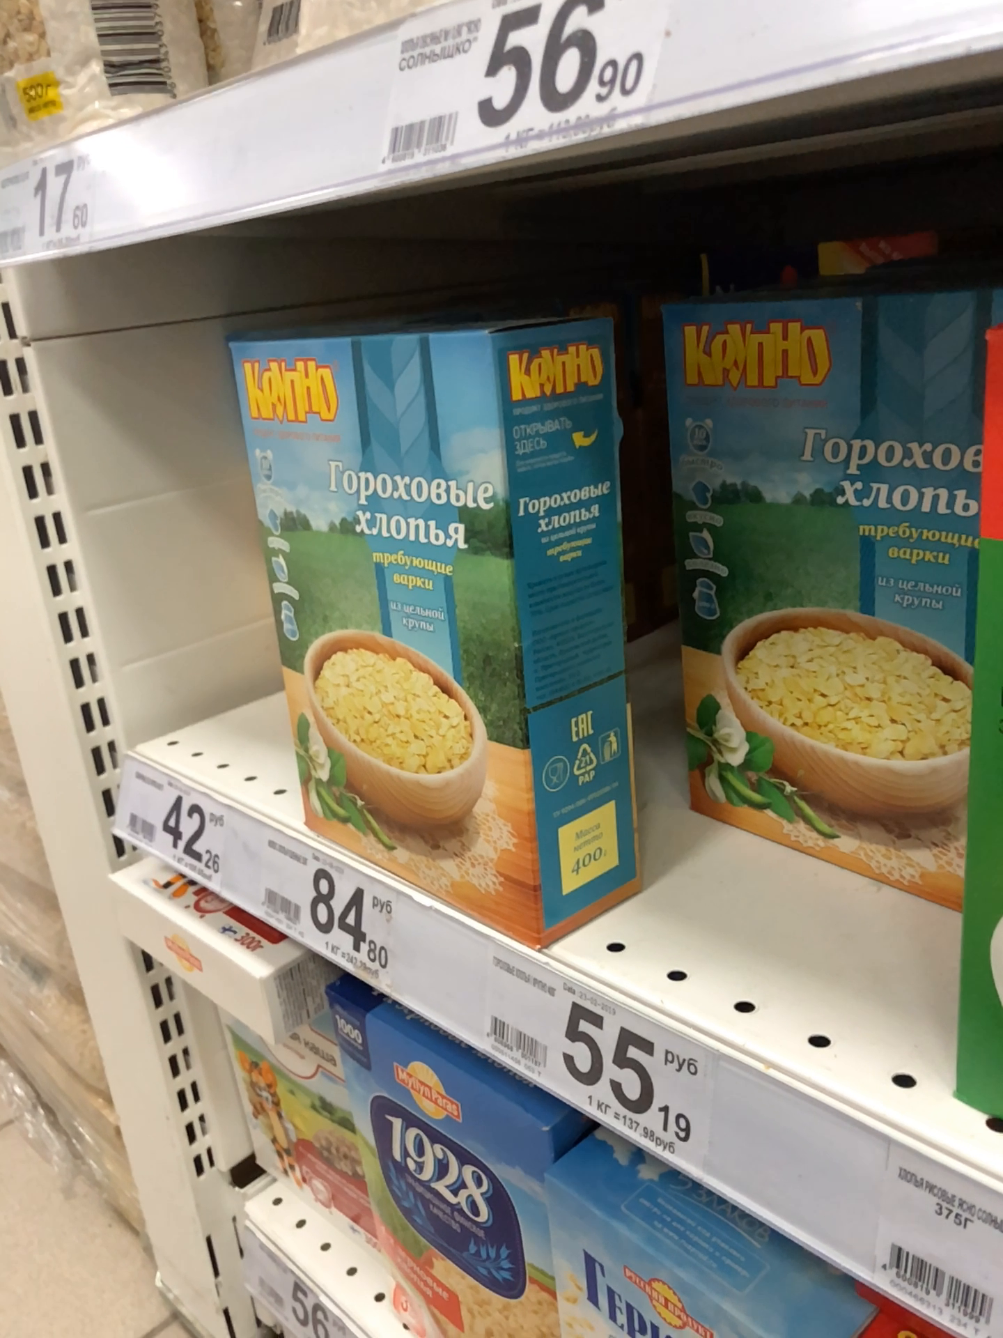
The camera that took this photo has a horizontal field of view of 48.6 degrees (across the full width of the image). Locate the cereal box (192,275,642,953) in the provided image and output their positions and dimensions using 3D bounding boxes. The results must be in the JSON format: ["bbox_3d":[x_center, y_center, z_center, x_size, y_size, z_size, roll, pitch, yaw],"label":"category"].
[{"bbox_3d":[-0.032,-0.027,0.392,0.050,0.199,0.160,-20,23,-38],"label":"cereal box"}]
